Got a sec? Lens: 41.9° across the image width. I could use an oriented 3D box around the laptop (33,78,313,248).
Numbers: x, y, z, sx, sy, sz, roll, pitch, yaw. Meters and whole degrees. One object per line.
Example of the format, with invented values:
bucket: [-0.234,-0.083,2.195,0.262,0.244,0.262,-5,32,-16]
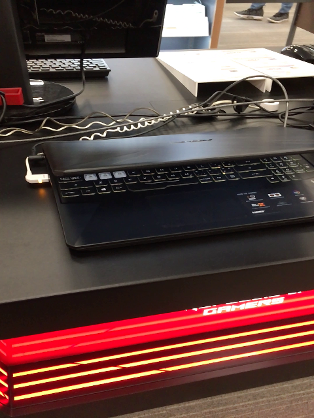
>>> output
laptop: [0.058,-0.084,0.562,0.393,0.088,0.241,-9,40,-14]
